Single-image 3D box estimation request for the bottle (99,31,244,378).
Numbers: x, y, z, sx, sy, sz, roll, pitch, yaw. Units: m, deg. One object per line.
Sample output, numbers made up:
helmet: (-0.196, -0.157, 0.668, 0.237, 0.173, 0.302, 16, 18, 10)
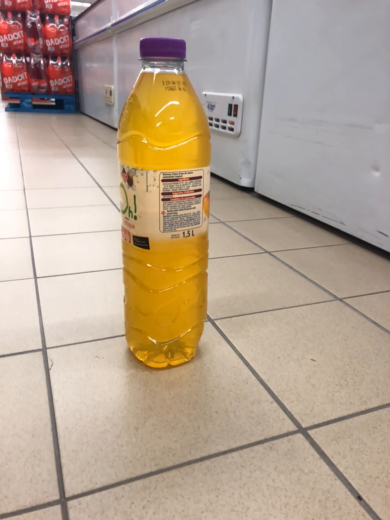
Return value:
bottle: (-0.030, -0.049, 0.425, 0.090, 0.299, 0.100, -9, 24, -29)
